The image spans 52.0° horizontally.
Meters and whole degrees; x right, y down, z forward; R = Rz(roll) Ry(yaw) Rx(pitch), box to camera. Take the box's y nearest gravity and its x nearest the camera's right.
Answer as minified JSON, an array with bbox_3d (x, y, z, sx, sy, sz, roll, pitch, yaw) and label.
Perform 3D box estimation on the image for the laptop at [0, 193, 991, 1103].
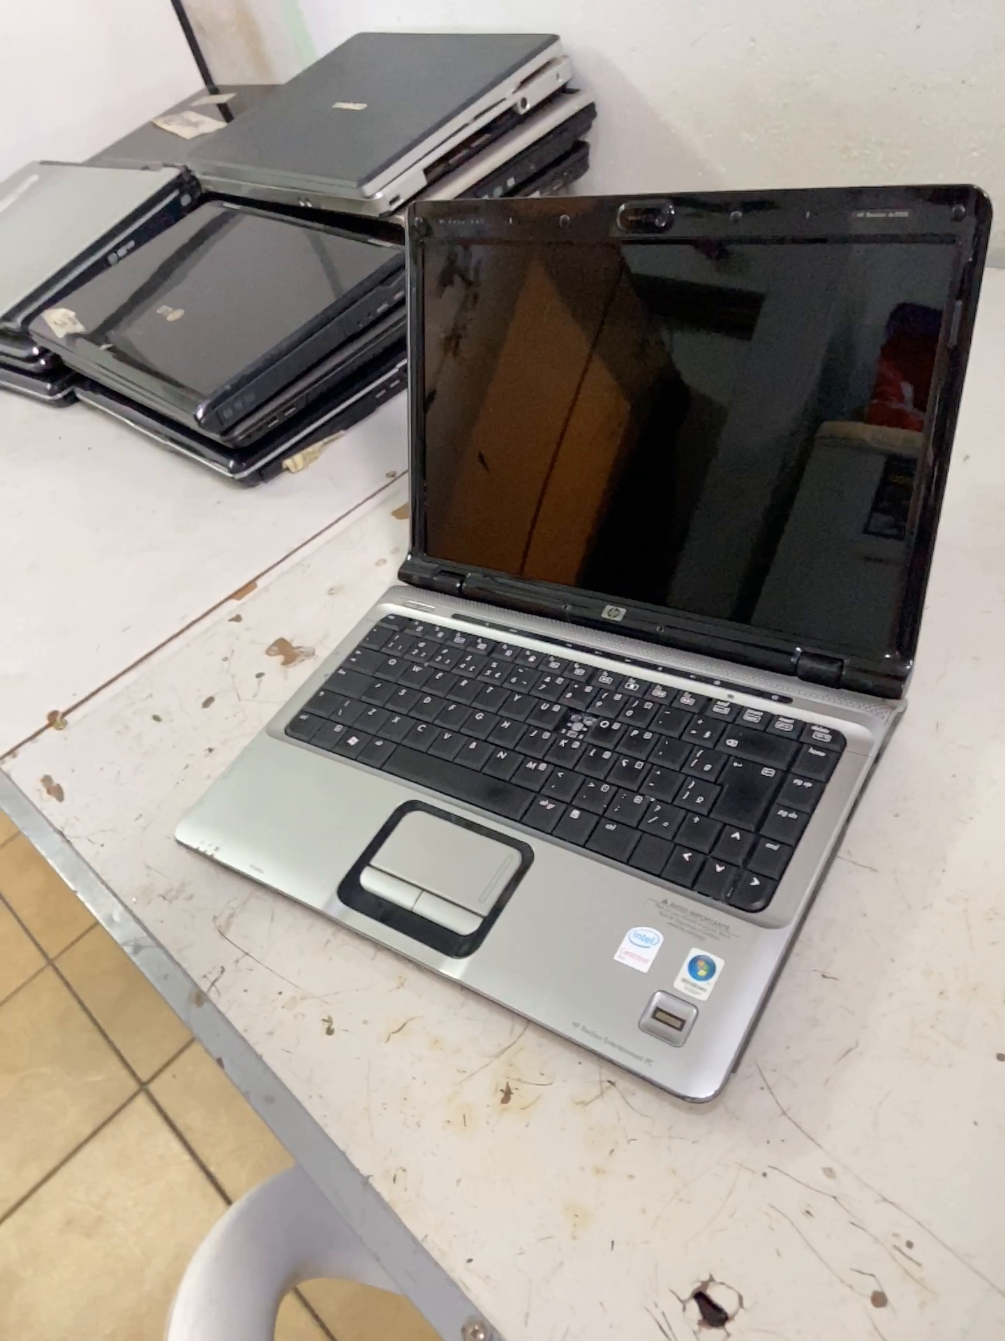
[{"bbox_3d":[0.013,-0.055,0.504,0.321,0.193,0.335,16,53,33],"label":"laptop"}]
